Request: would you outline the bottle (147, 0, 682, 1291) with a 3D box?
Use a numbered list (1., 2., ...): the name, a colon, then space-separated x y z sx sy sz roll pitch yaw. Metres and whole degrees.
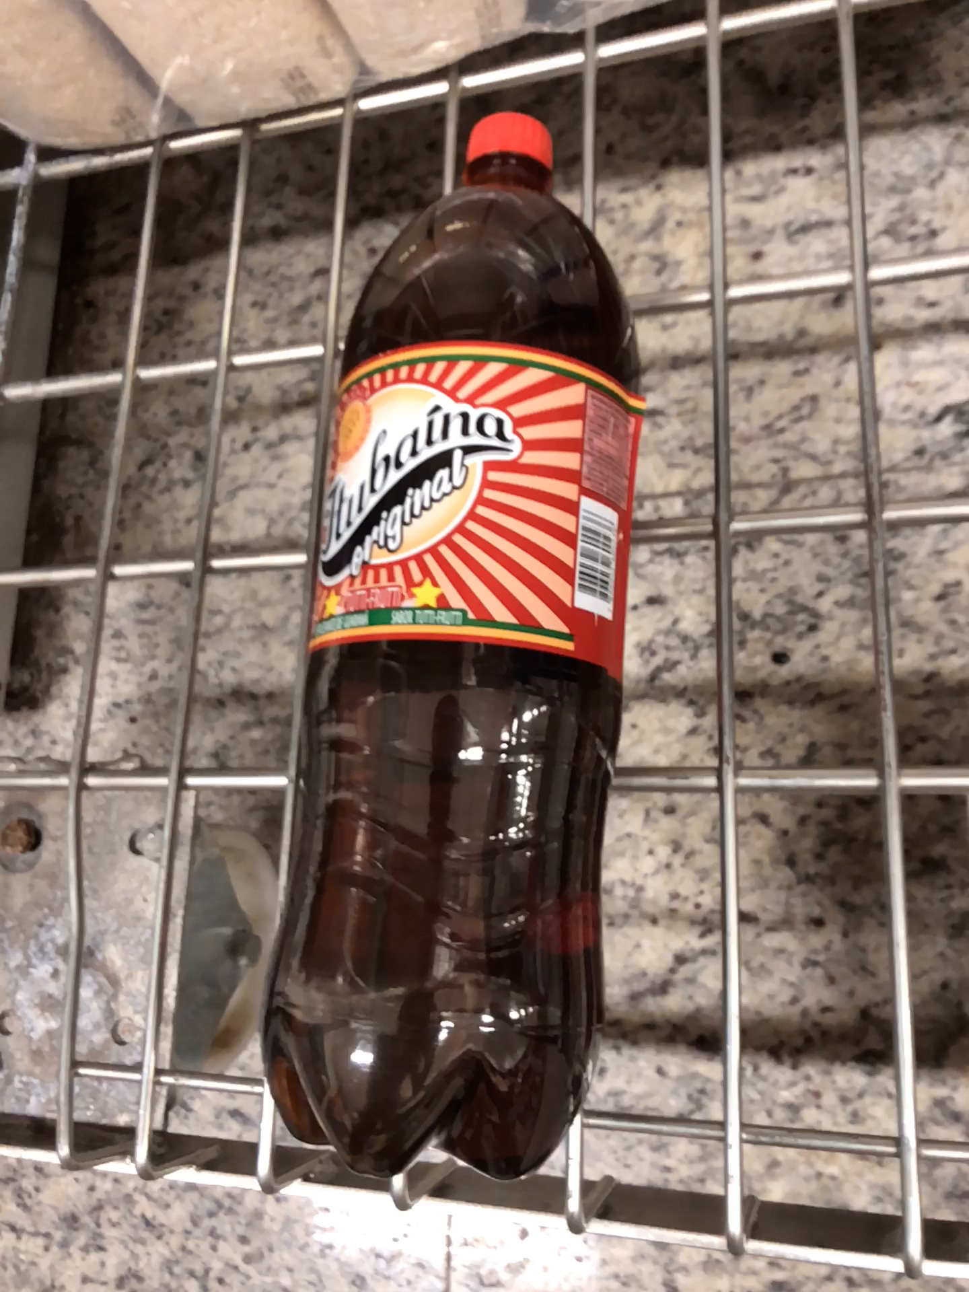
1. bottle: -0.010 -0.011 0.309 0.110 0.070 0.320 0 80 20
